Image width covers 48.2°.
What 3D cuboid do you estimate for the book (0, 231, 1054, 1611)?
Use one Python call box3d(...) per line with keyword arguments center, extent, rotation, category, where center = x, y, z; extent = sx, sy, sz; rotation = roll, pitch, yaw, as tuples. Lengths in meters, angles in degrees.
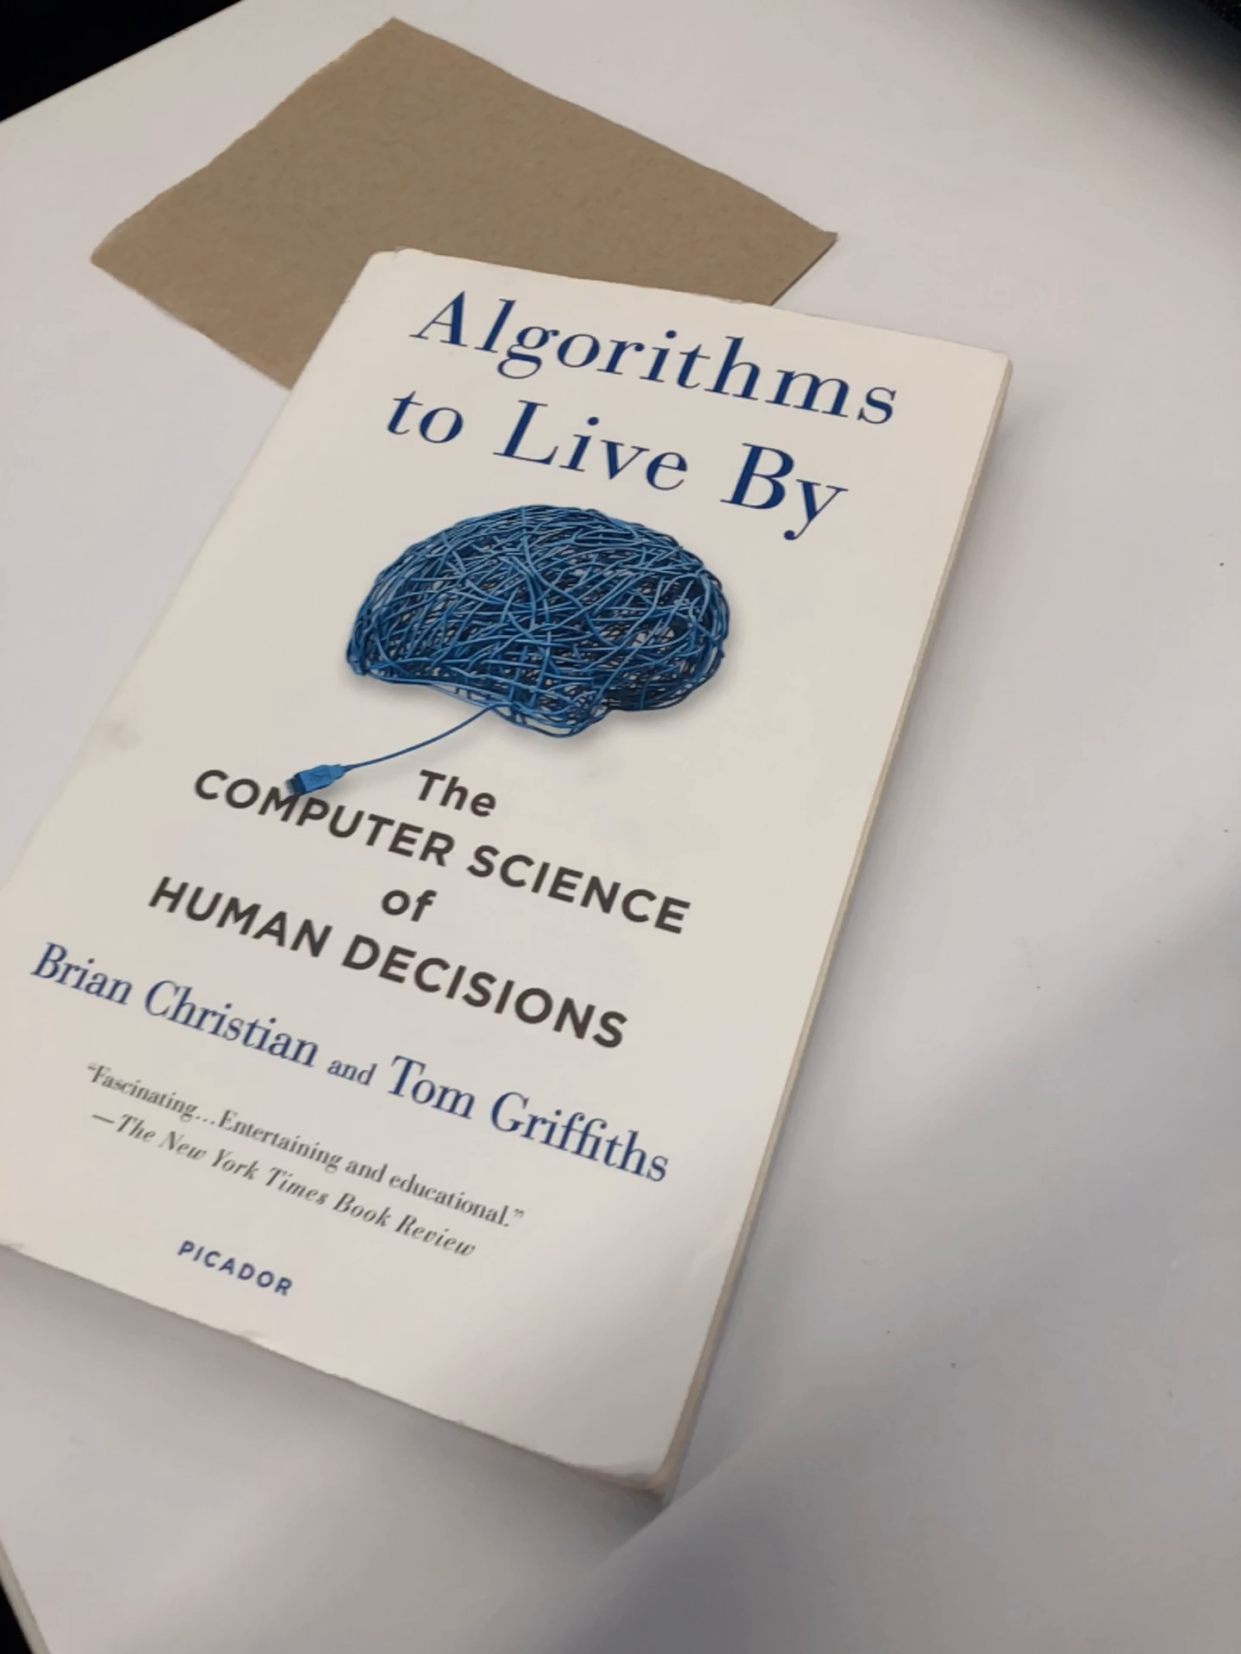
box3d(center=(-0.027, -0.007, 0.254), extent=(0.160, 0.040, 0.220), rotation=(15, 65, 14), category="book")
